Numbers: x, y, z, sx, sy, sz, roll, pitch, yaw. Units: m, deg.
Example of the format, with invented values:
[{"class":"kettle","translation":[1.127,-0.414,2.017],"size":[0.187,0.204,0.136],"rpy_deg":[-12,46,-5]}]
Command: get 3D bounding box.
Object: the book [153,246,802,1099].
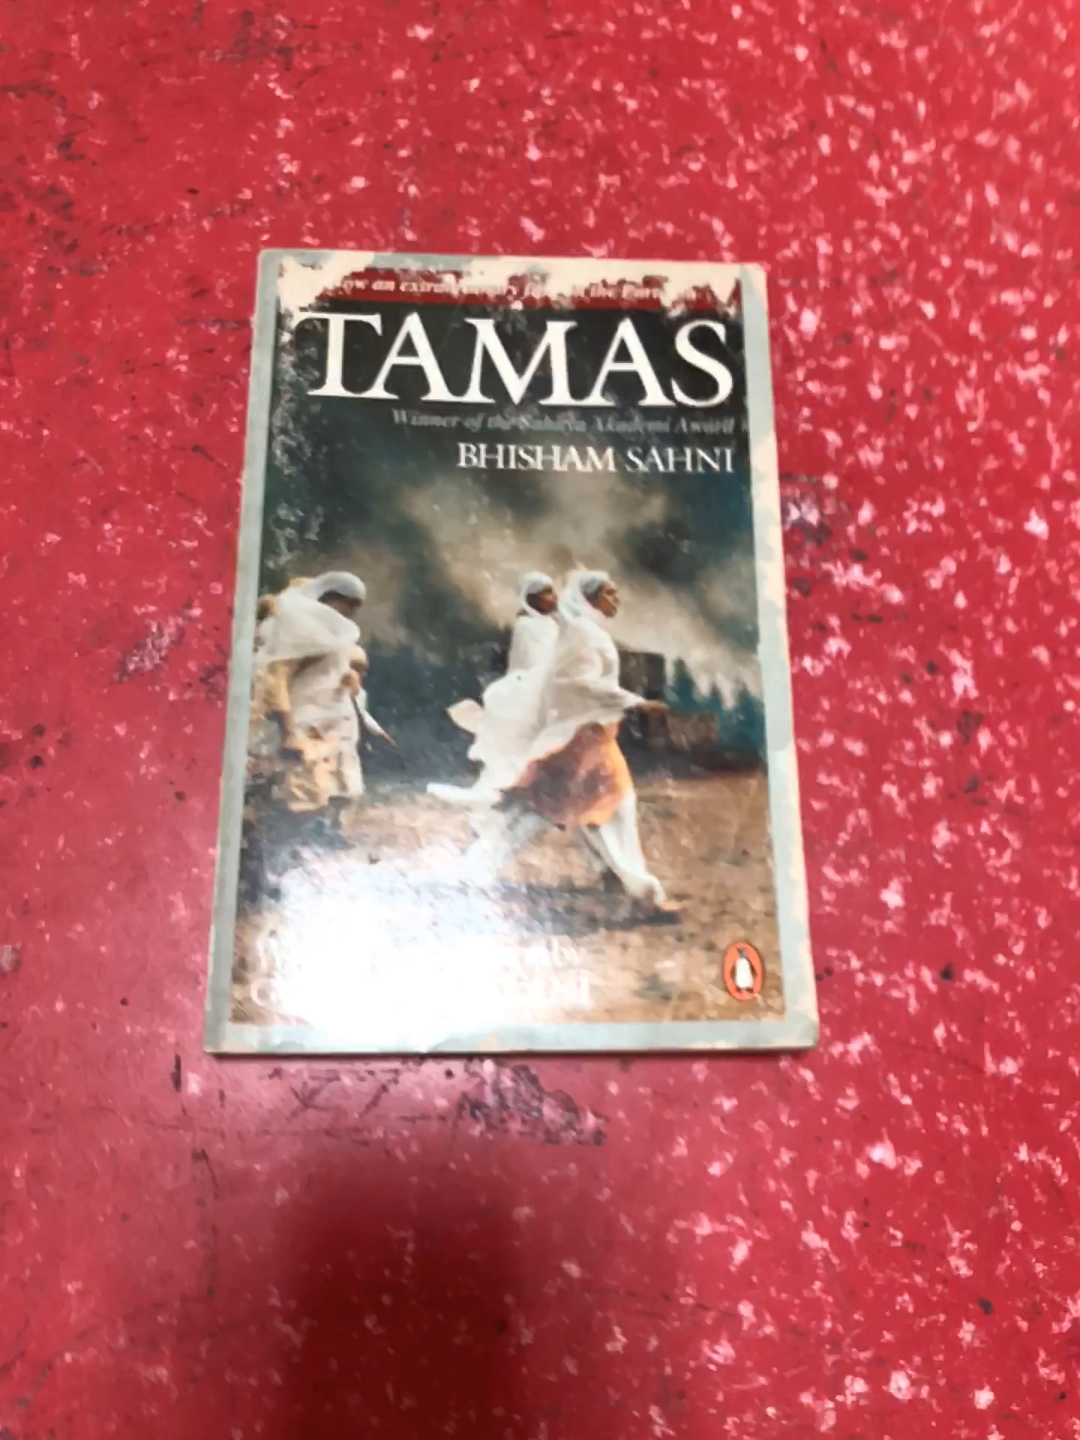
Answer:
[{"class":"book","translation":[-0.014,-0.018,0.283],"size":[0.130,0.020,0.200],"rpy_deg":[0,73,-3]}]
